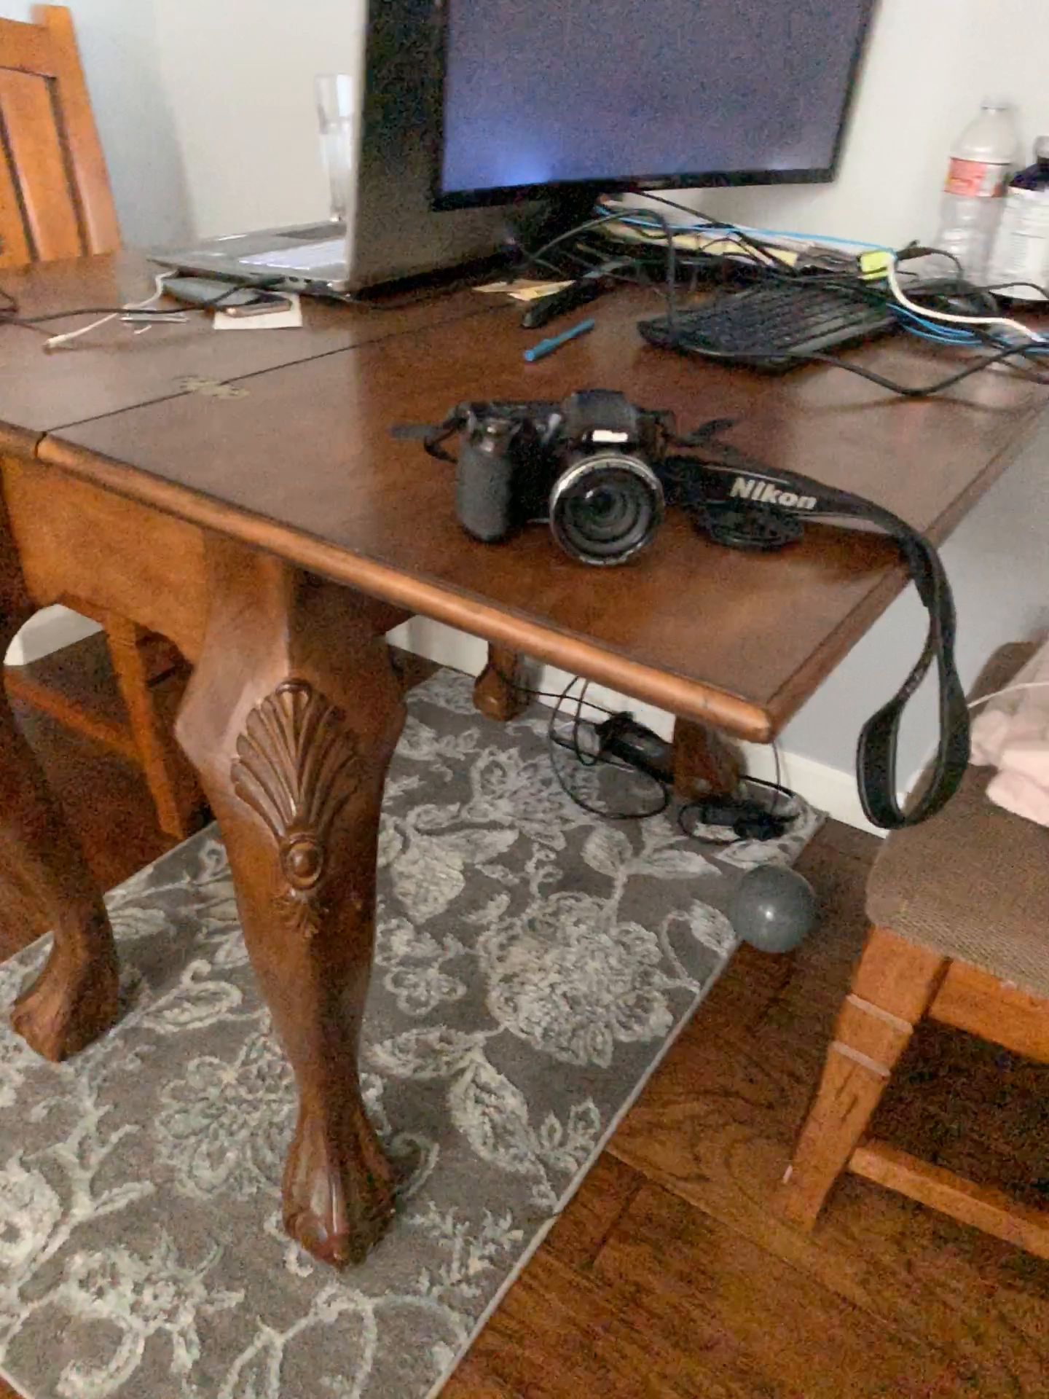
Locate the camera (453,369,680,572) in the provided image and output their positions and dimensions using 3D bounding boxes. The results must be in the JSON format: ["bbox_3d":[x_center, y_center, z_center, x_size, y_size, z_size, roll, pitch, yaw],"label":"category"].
[{"bbox_3d":[0.017,-0.126,0.582,0.110,0.079,0.091,0,31,-4],"label":"camera"}]
